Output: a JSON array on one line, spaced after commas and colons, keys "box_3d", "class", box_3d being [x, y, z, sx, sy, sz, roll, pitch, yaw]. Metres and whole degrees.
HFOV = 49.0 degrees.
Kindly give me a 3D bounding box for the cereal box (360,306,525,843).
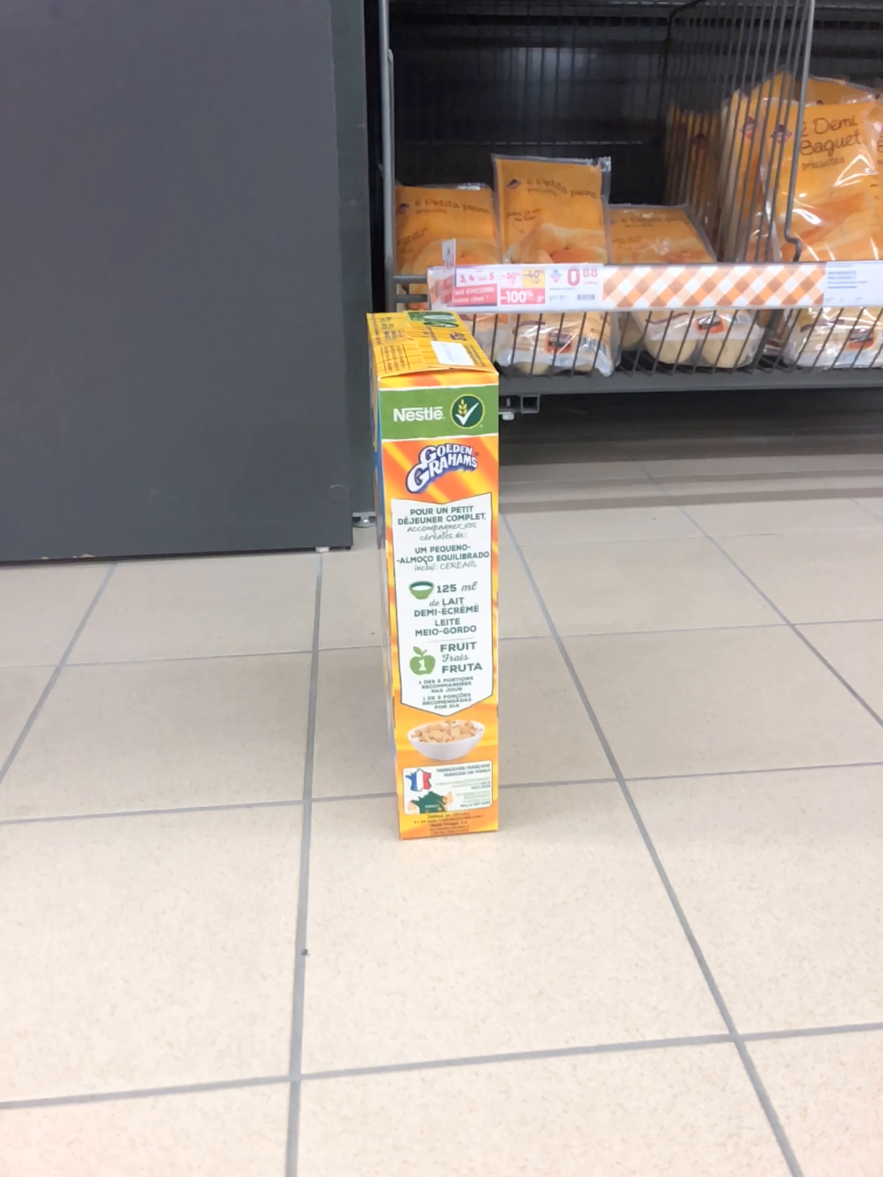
[{"box_3d": [-0.008, -0.020, 0.595, 0.070, 0.269, 0.201, -2, 24, -6], "class": "cereal box"}]
